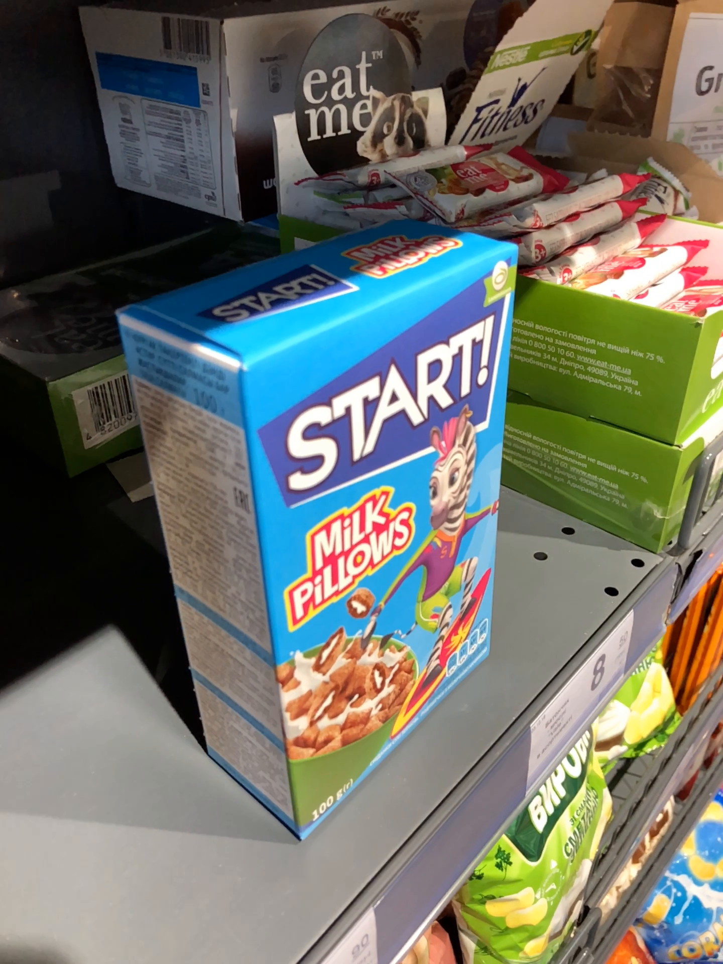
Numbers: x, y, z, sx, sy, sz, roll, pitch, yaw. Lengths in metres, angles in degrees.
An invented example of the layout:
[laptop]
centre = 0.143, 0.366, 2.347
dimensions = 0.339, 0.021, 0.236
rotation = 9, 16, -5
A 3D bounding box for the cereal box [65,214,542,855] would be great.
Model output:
[cereal box]
centre = -0.010, 0.013, 0.273
dimensions = 0.070, 0.169, 0.121
rotation = 26, 42, 37
